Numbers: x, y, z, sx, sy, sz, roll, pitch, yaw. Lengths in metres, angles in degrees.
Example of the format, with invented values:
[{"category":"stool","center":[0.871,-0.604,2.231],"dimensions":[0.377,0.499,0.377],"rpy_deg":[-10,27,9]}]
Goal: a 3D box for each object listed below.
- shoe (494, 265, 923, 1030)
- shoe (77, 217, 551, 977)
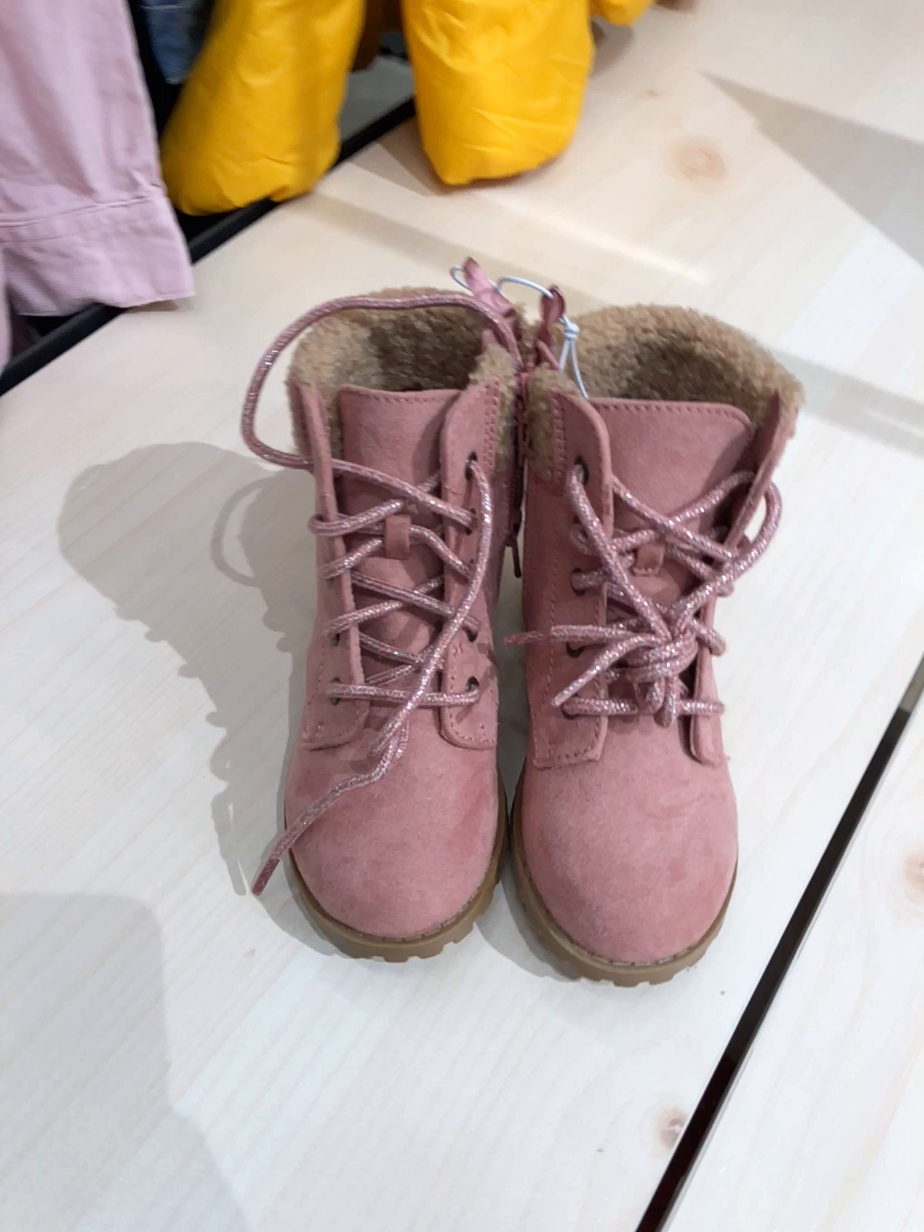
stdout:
[{"category":"shoe","center":[0.055,0.006,0.274],"dimensions":[0.080,0.120,0.160],"rpy_deg":[3,51,3]},{"category":"shoe","center":[-0.022,-0.007,0.275],"dimensions":[0.080,0.120,0.160],"rpy_deg":[3,51,3]}]
